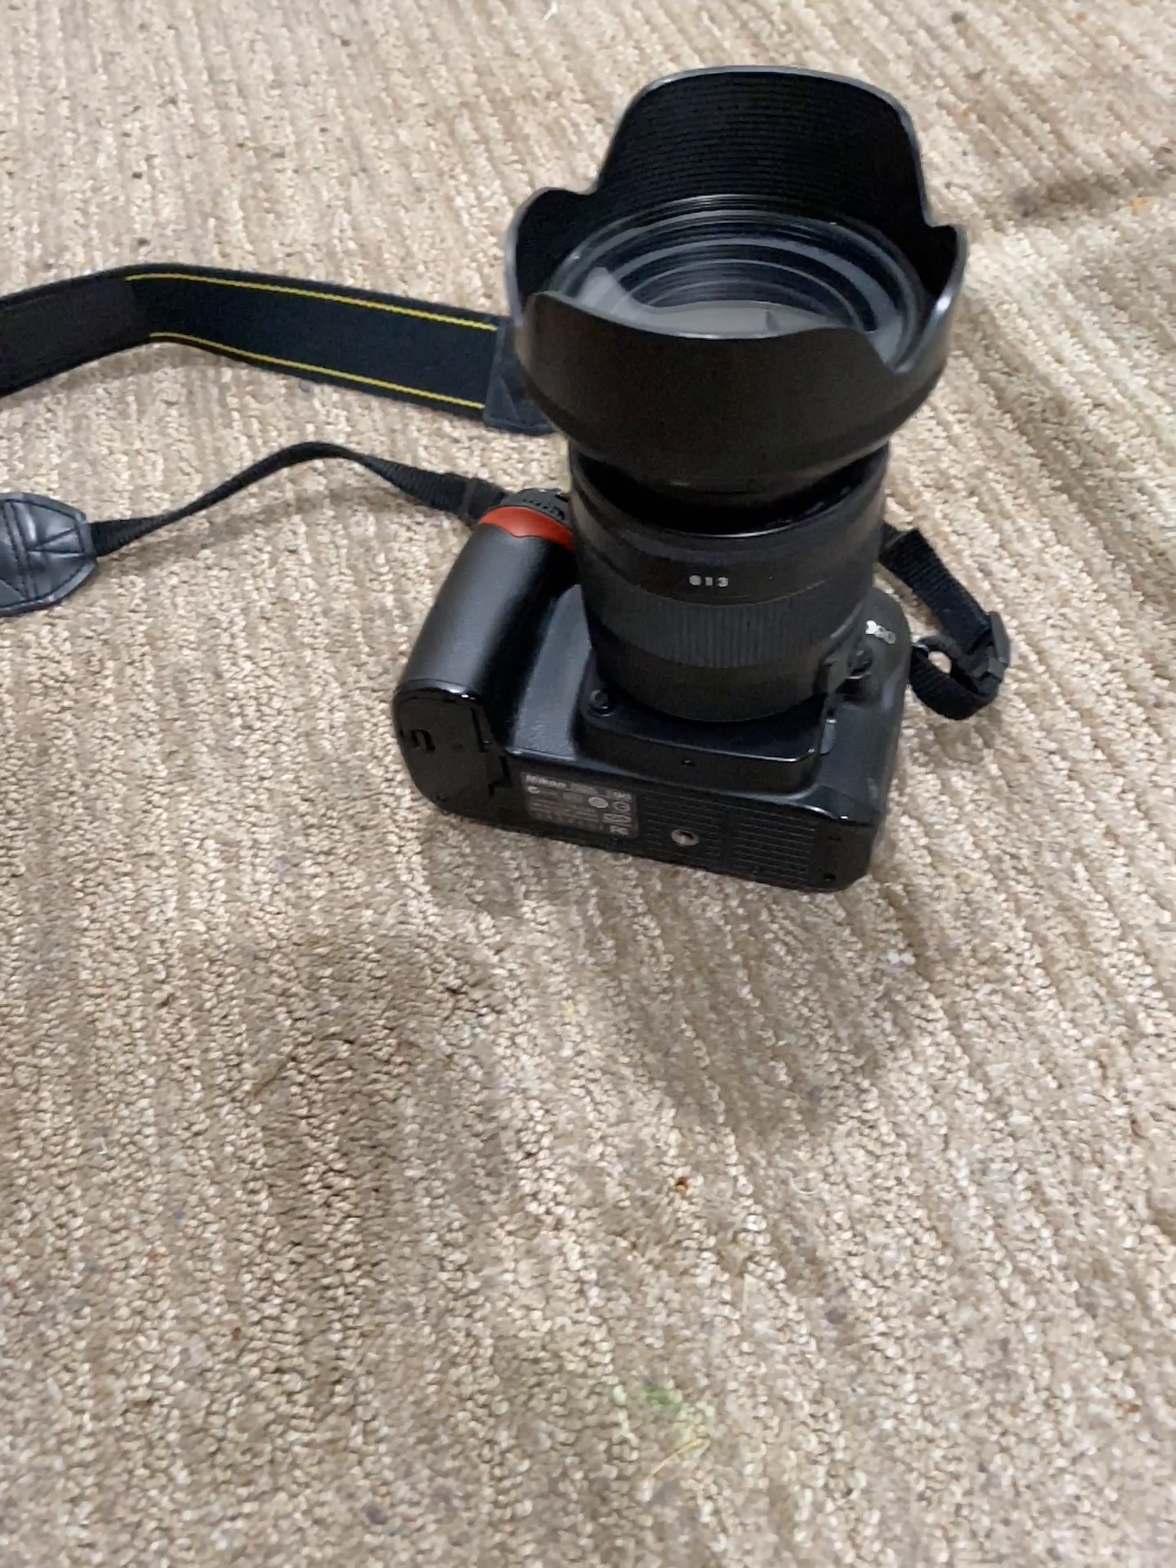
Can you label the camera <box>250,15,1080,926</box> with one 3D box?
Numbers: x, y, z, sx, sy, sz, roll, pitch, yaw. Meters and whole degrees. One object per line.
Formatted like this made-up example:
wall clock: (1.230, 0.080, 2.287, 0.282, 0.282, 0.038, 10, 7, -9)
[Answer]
camera: (0.024, -0.069, 0.299, 0.138, 0.165, 0.115, 12, 55, 10)
